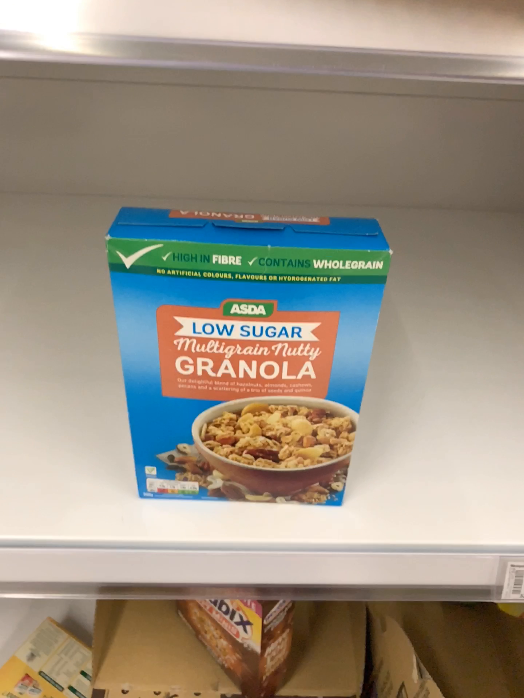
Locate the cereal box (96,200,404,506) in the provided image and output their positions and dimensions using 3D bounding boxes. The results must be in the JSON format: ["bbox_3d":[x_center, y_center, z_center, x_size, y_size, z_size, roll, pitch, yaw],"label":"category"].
[{"bbox_3d":[-0.012,0.017,0.431,0.190,0.248,0.061,3,36,-1],"label":"cereal box"}]
